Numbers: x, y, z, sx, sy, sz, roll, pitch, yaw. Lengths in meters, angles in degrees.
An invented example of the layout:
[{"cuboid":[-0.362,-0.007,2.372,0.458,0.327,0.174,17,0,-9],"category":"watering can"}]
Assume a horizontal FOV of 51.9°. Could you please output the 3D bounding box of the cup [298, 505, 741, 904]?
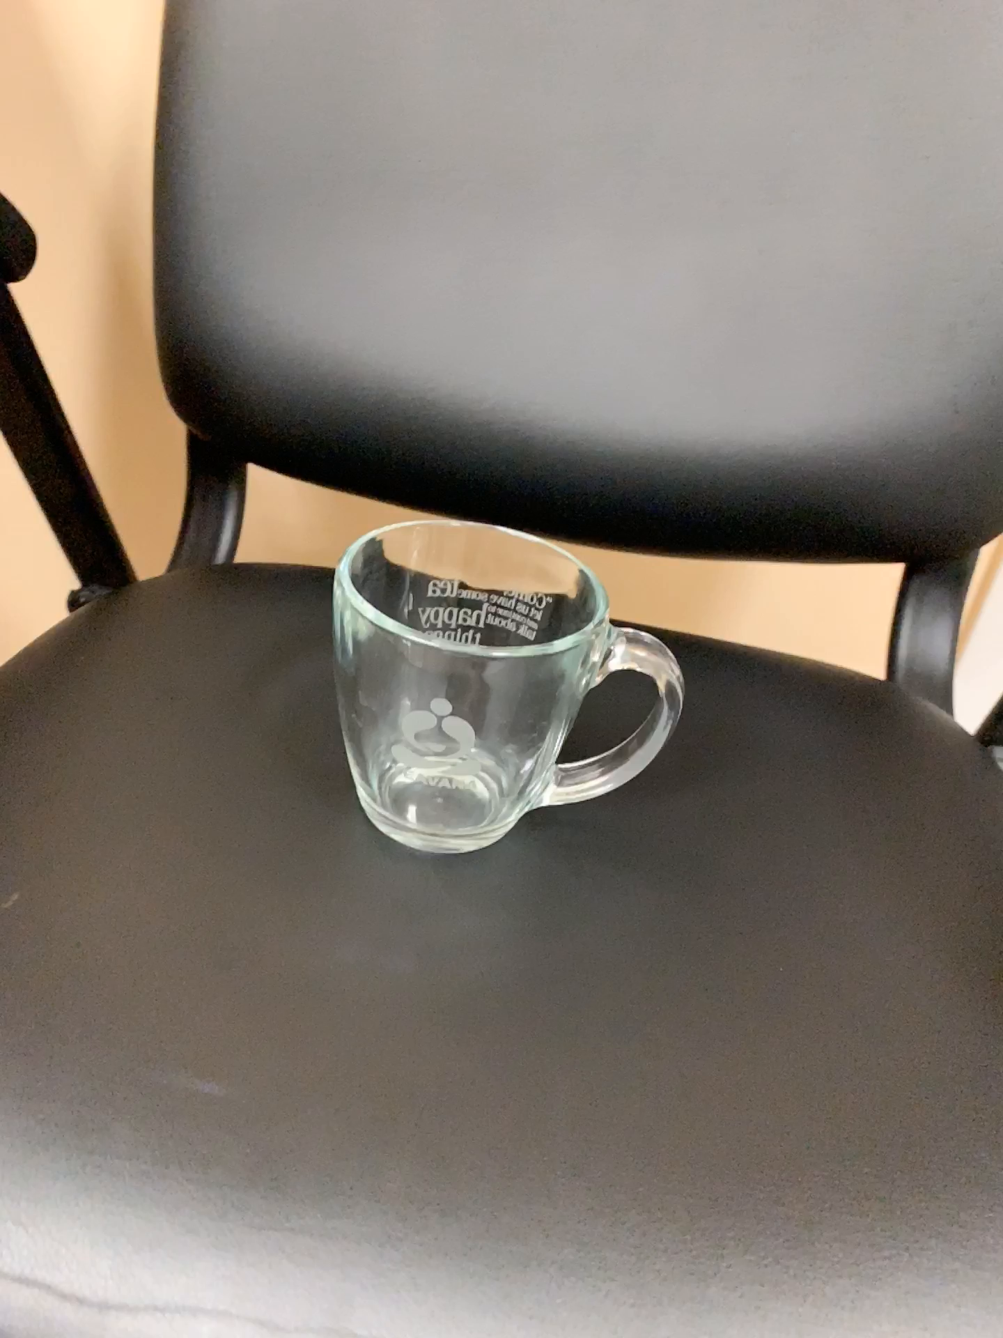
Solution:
[{"cuboid":[0.003,0.011,0.397,0.139,0.100,0.096,8,31,-3],"category":"cup"}]
